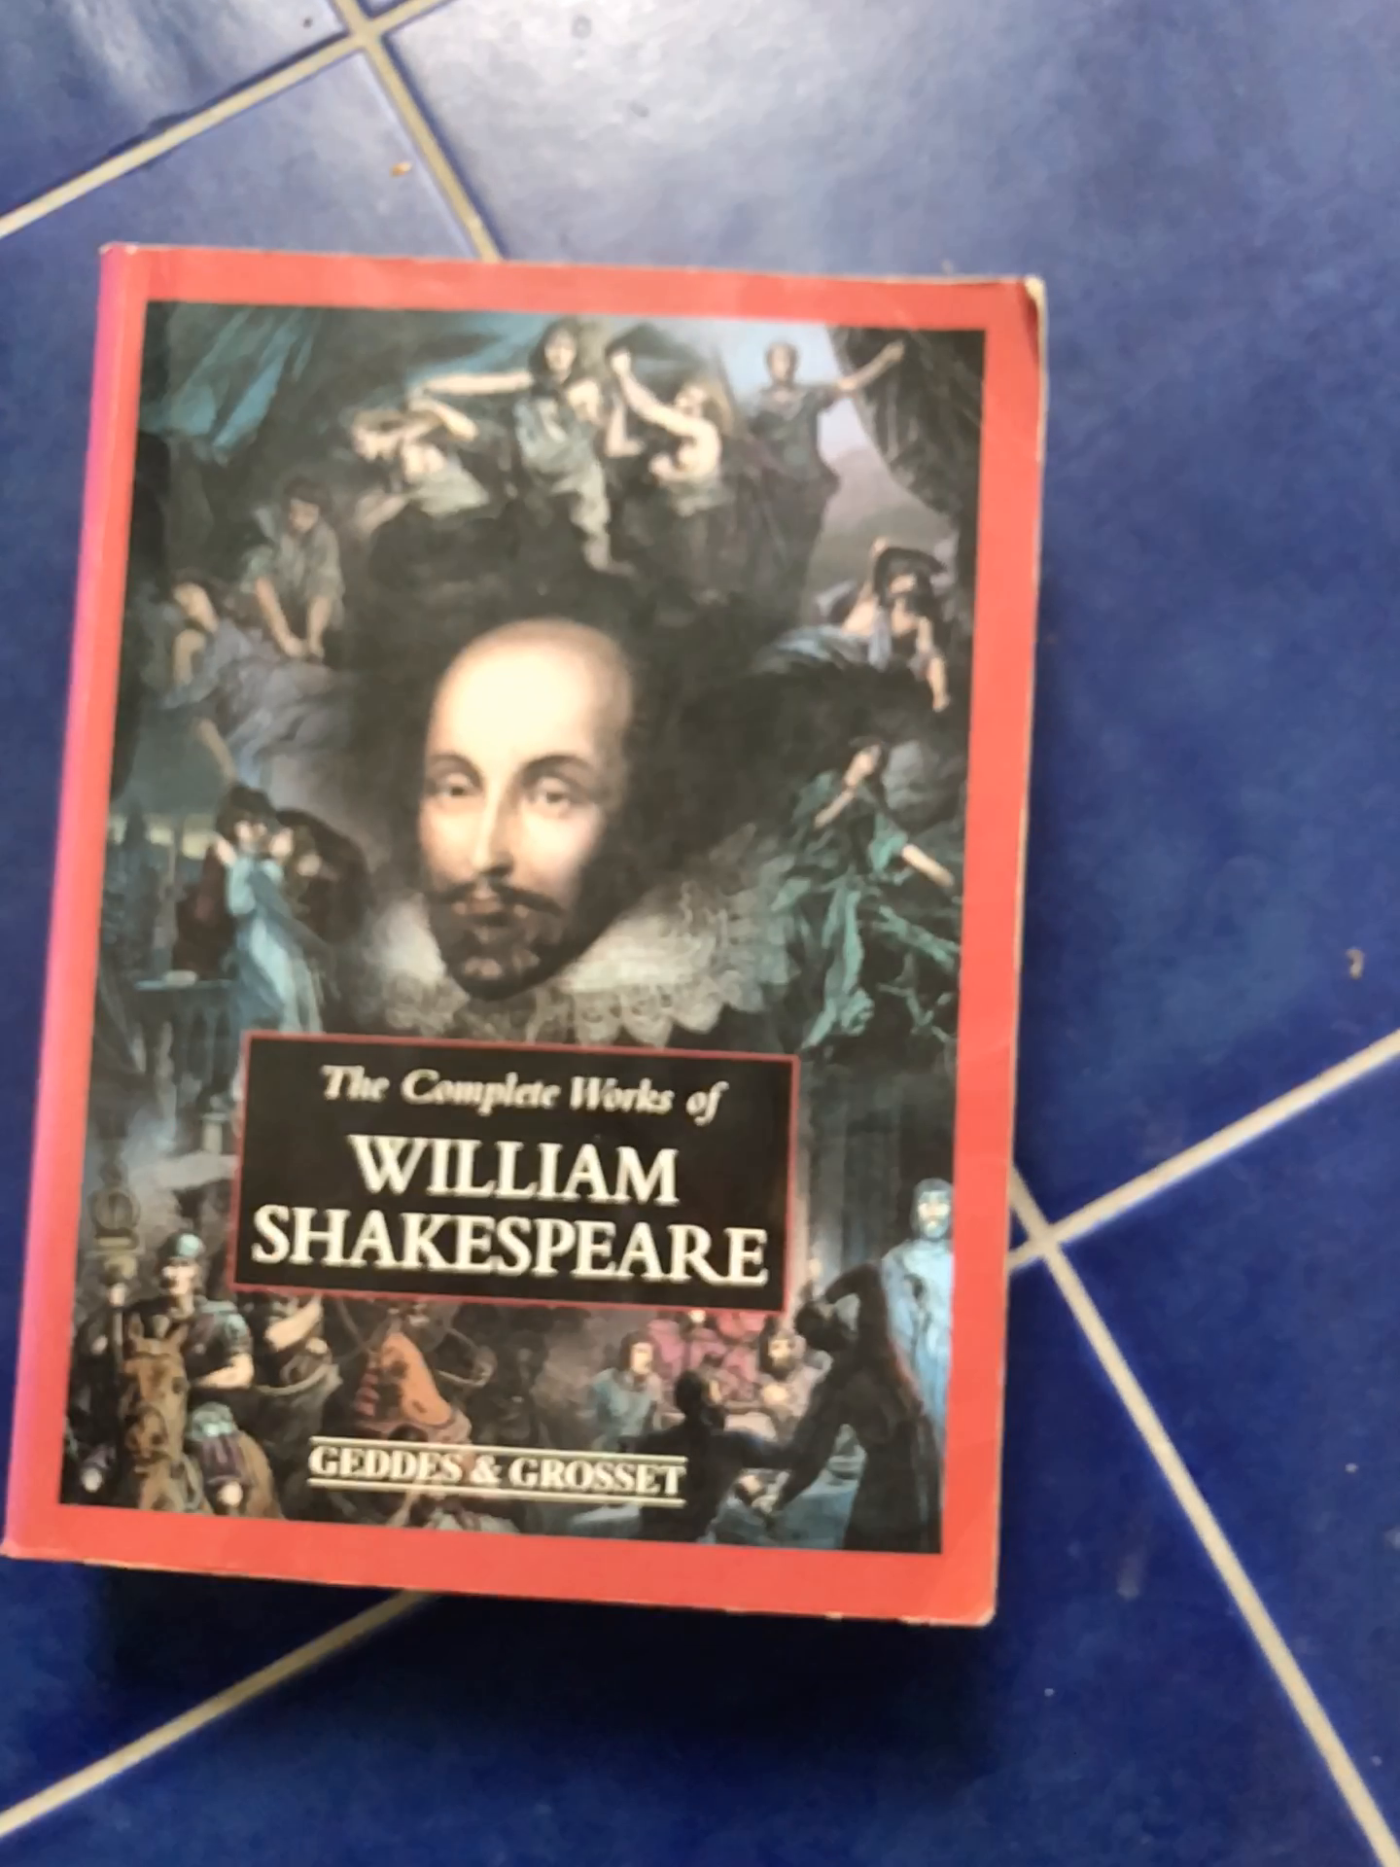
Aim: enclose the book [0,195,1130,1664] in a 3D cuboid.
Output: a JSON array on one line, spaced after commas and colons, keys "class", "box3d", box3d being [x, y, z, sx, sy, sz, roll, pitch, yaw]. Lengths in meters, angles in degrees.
[{"class": "book", "box3d": [-0.027, -0.004, 0.329, 0.210, 0.060, 0.270, 3, 86, 1]}]
